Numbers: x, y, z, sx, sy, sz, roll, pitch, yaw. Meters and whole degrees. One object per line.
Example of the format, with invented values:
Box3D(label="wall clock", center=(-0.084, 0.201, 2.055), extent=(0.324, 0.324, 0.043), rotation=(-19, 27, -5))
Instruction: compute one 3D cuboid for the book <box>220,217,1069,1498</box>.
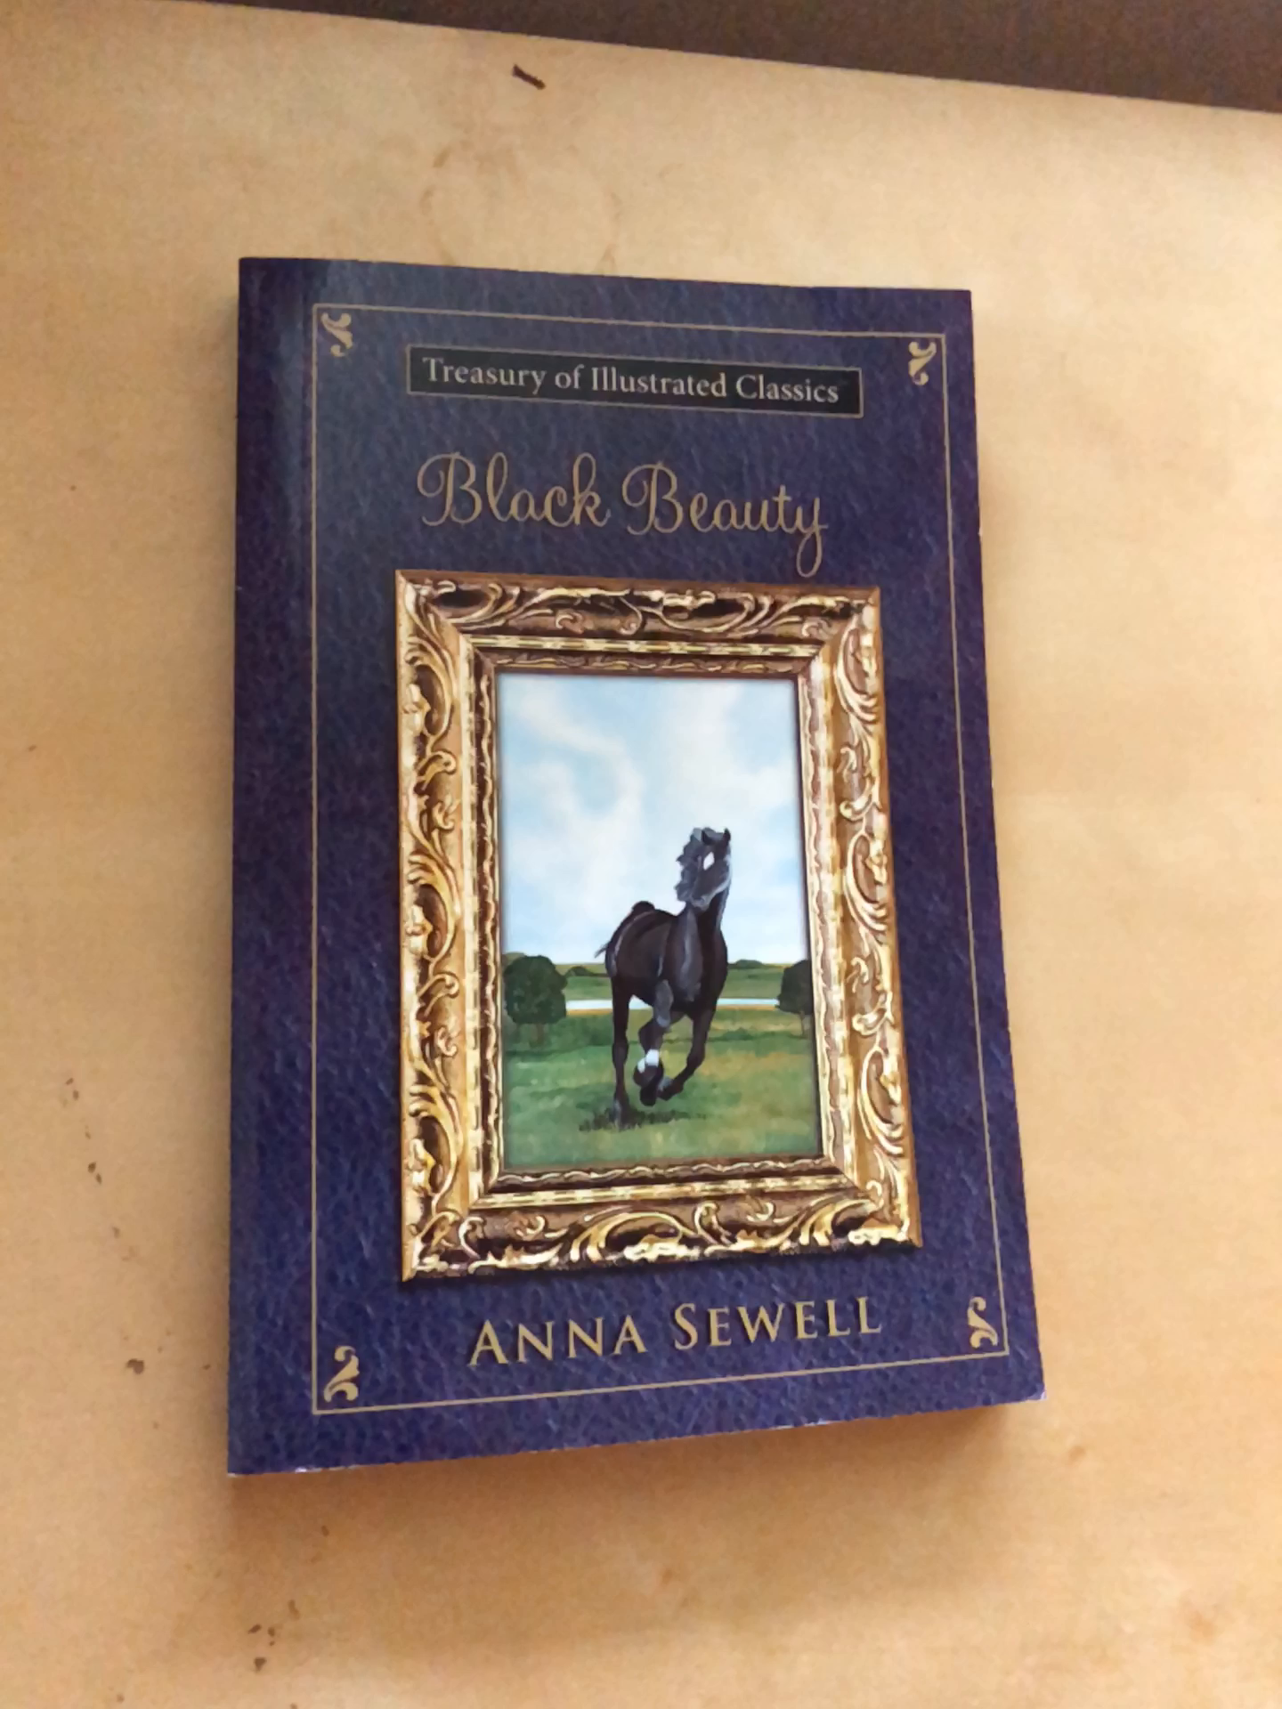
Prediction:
Box3D(label="book", center=(-0.002, -0.005, 0.234), extent=(0.126, 0.025, 0.193), rotation=(0, 81, -10))
